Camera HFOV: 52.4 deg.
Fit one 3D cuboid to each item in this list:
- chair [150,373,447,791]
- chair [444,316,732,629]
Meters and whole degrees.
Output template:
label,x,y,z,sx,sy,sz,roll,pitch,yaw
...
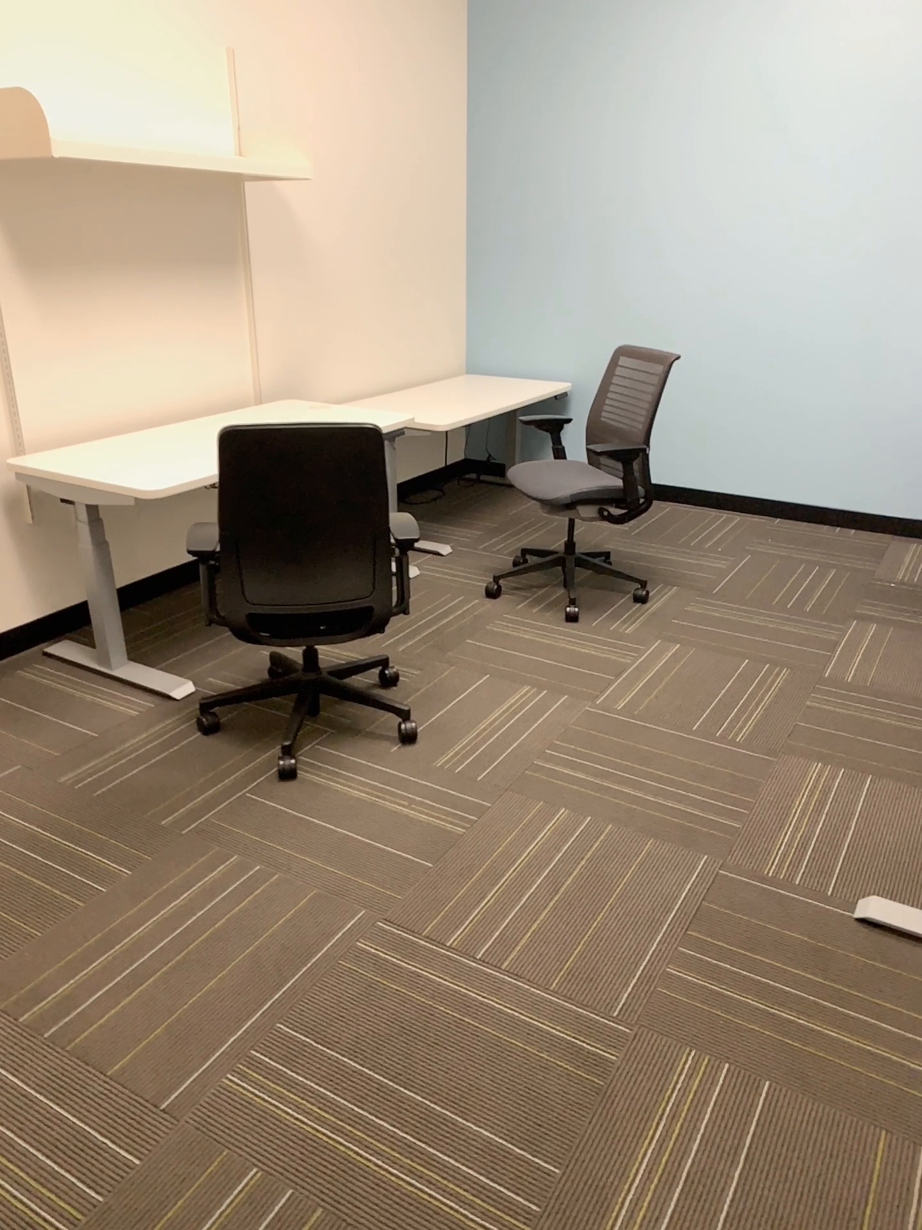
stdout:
label,x,y,z,sx,sy,sz,roll,pitch,yaw
chair,-0.466,-0.153,2.684,0.680,0.935,0.774,-5,22,-14
chair,0.426,-0.614,3.682,0.770,0.995,0.895,-6,23,-15
